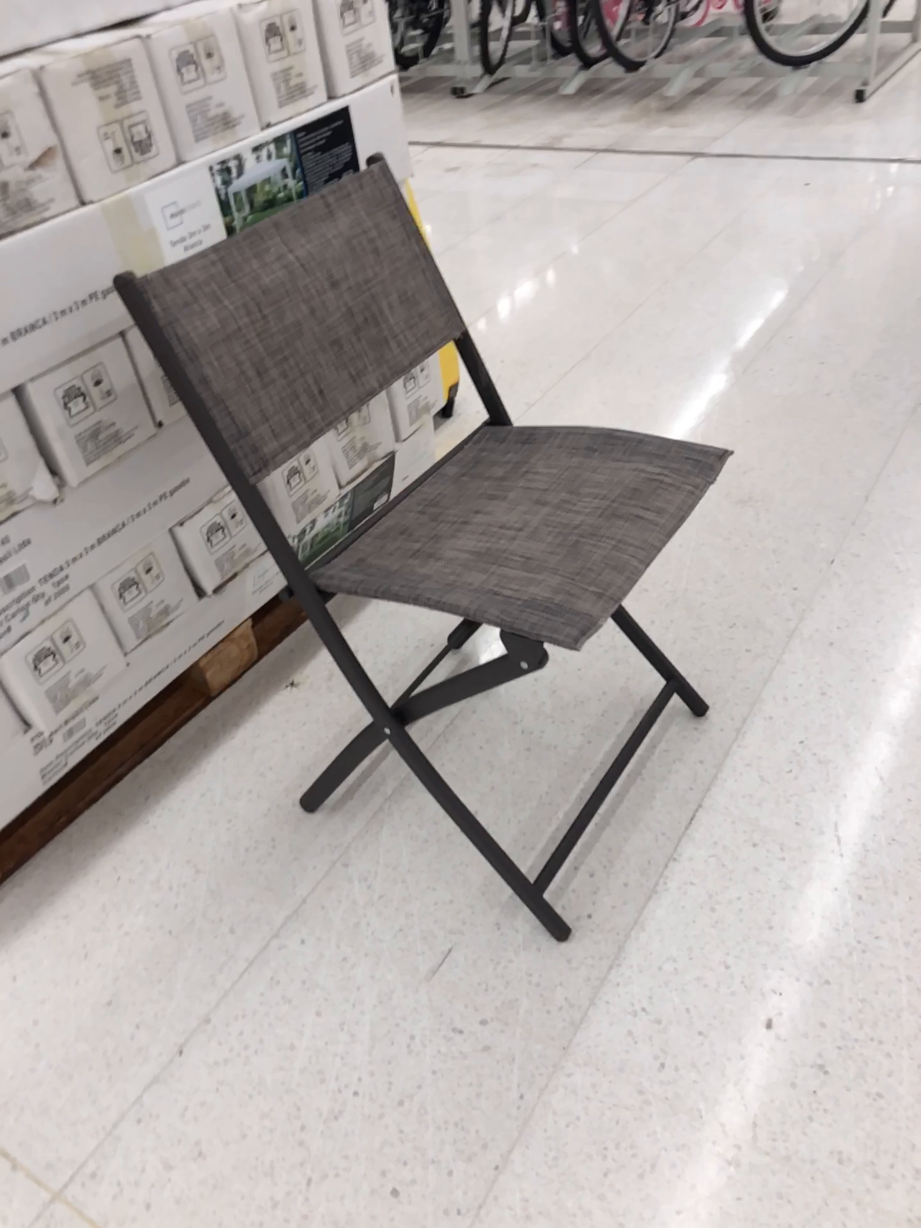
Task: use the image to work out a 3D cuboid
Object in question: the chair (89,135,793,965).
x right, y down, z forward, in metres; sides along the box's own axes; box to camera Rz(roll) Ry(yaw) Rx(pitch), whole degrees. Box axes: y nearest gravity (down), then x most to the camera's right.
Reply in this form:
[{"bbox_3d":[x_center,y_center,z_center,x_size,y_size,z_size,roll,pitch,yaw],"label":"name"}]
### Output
[{"bbox_3d":[0.037,-0.101,1.220,0.501,0.754,0.513,17,44,29],"label":"chair"}]
